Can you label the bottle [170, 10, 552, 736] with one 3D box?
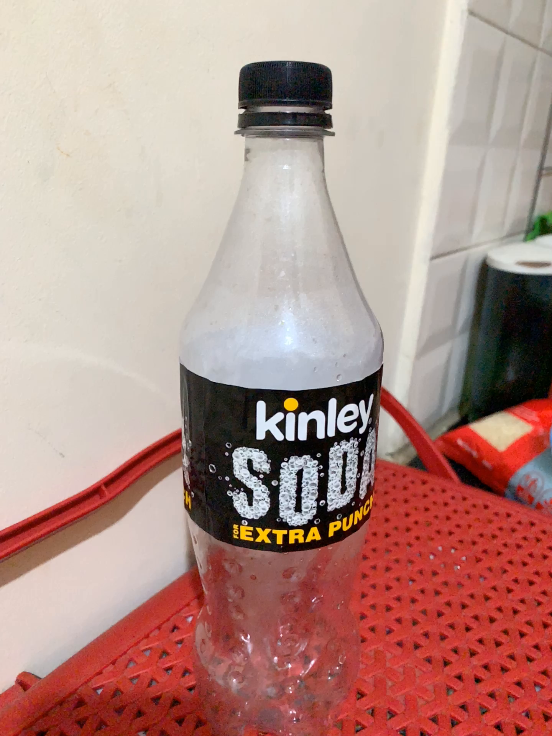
[{"bbox_3d":[0.015,0.023,0.193,0.080,0.228,0.070,-6,23,-22],"label":"bottle"}]
